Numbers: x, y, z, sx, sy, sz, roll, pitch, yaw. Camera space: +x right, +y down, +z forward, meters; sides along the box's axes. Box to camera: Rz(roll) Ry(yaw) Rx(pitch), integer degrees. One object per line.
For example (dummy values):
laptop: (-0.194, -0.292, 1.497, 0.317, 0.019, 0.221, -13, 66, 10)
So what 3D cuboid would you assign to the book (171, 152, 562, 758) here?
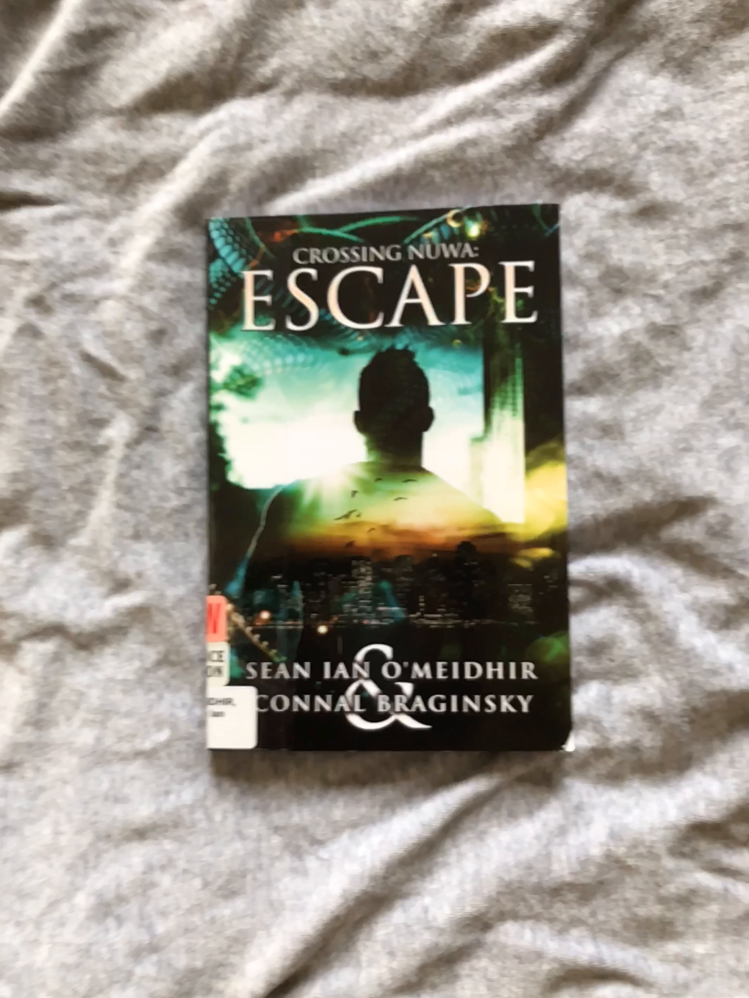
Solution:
book: (-0.004, -0.019, 0.363, 0.160, 0.030, 0.250, 0, 87, 4)
